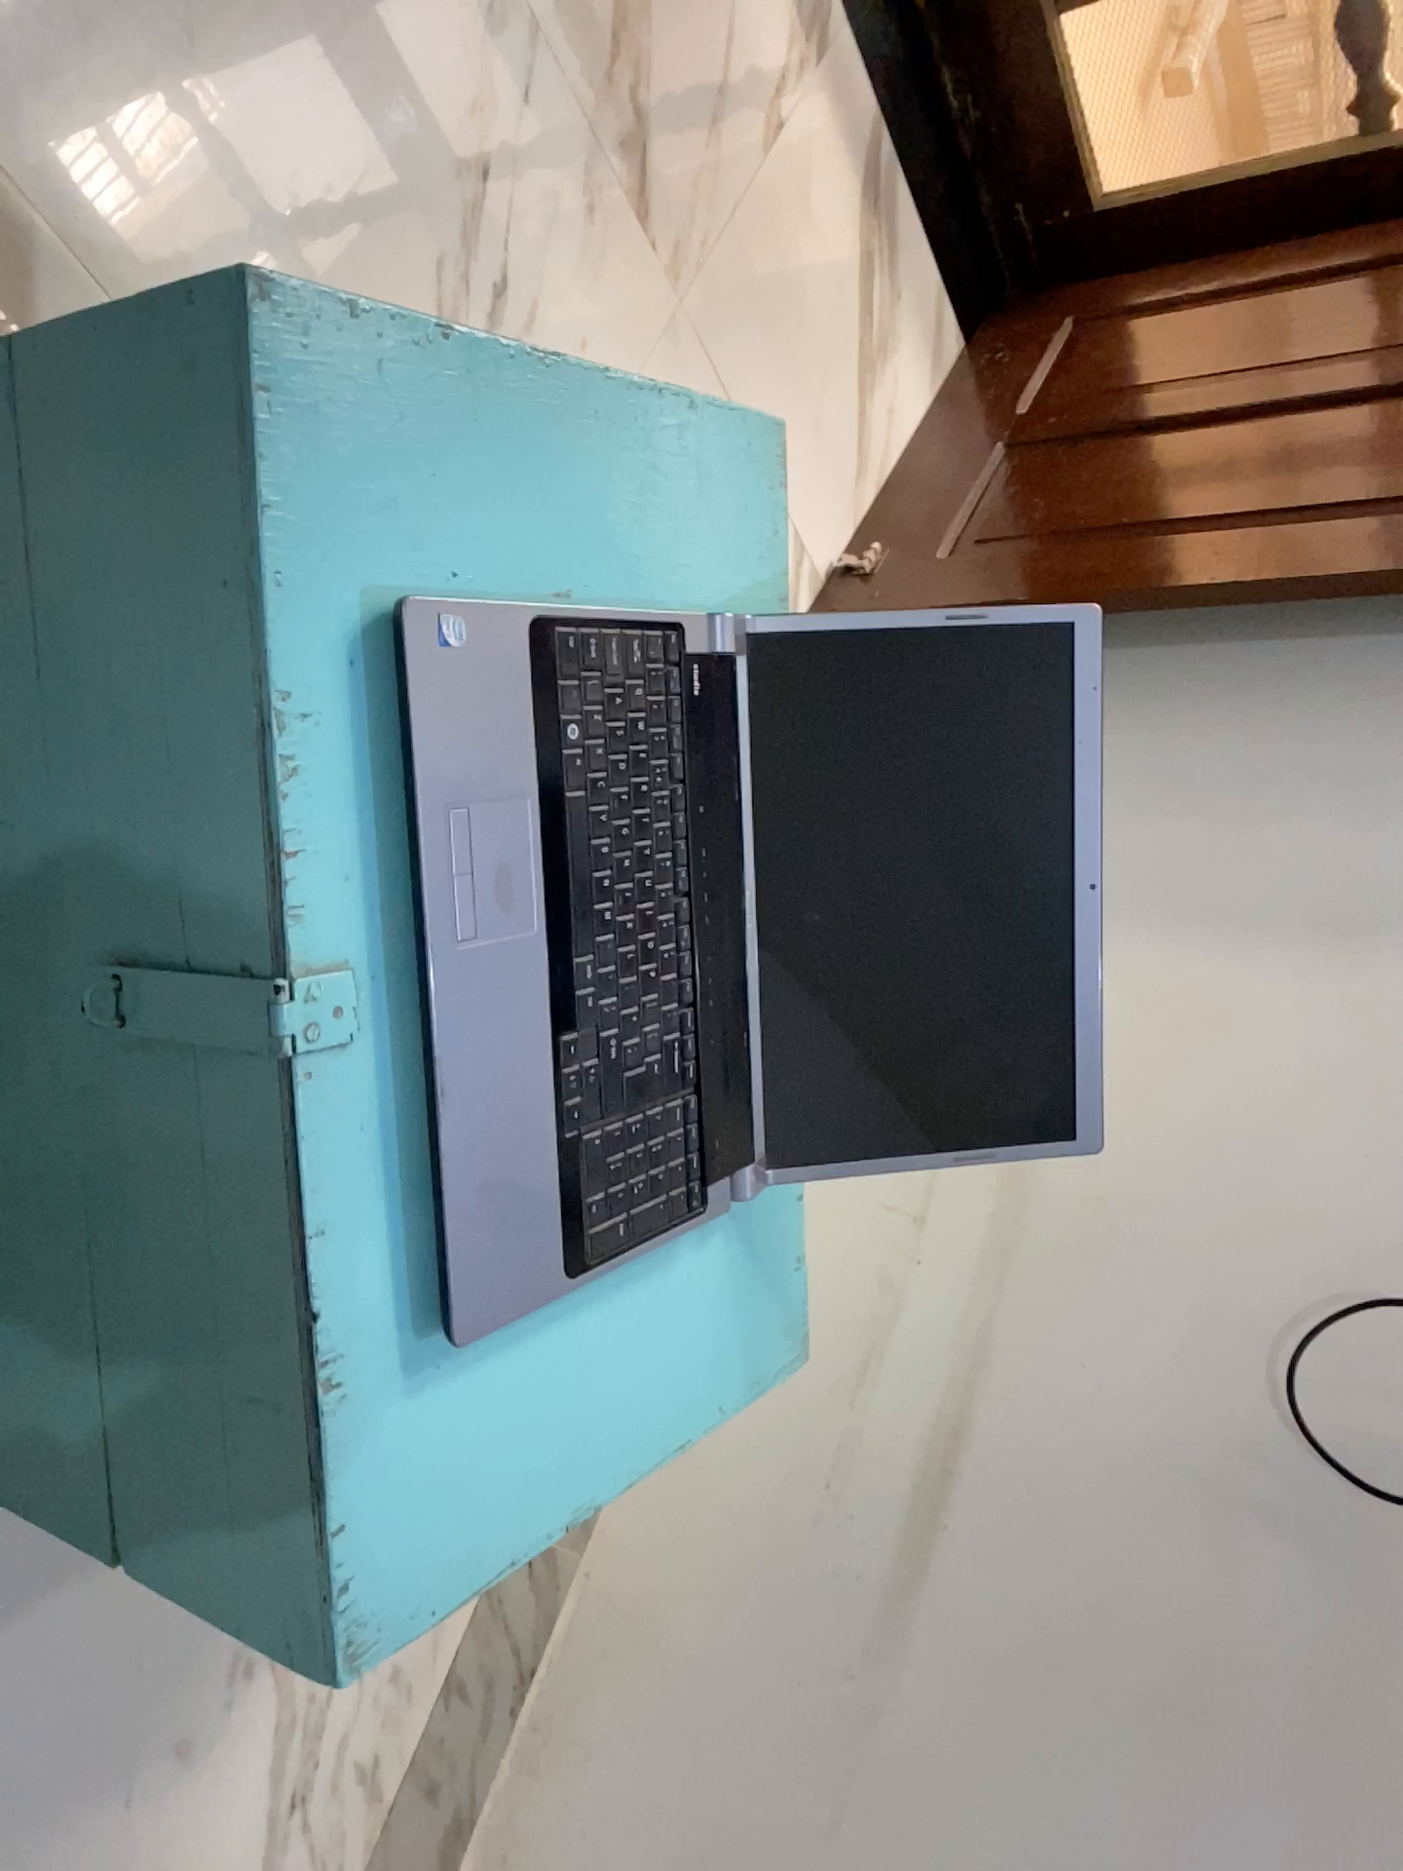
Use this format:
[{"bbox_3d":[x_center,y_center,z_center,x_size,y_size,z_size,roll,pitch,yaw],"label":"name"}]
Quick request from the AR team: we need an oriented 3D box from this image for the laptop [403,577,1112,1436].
[{"bbox_3d":[0.076,-0.002,0.873,0.480,0.178,0.389,-14,105,-53],"label":"laptop"}]
